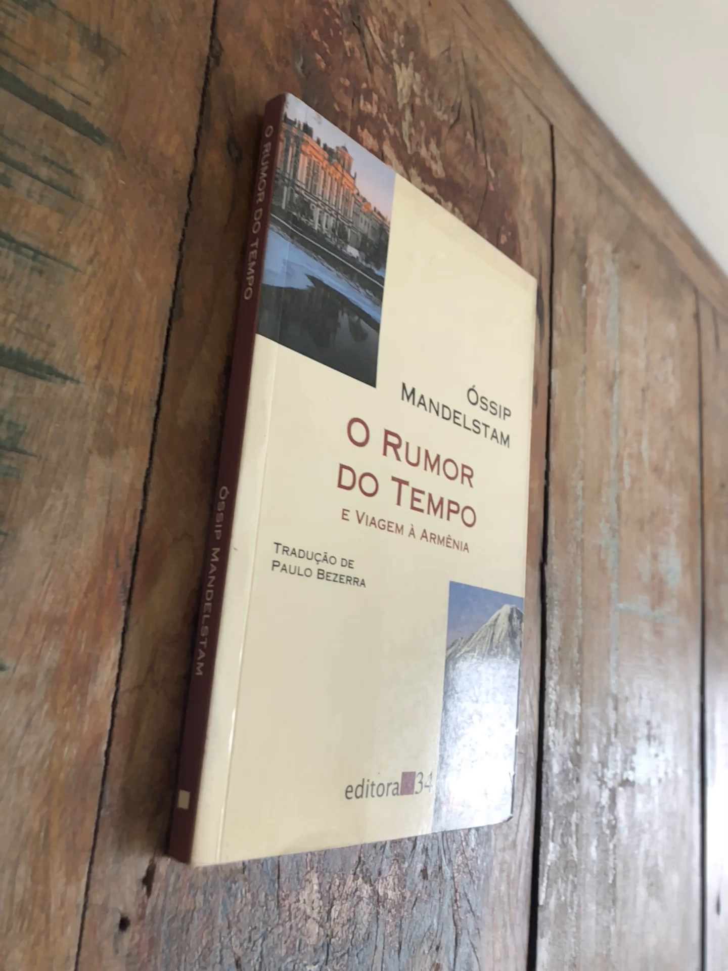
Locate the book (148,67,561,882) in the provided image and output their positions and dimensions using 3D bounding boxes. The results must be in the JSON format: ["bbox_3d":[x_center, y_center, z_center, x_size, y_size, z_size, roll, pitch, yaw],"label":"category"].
[{"bbox_3d":[0.013,0.002,0.257,0.141,0.022,0.207,17,73,-45],"label":"book"}]
